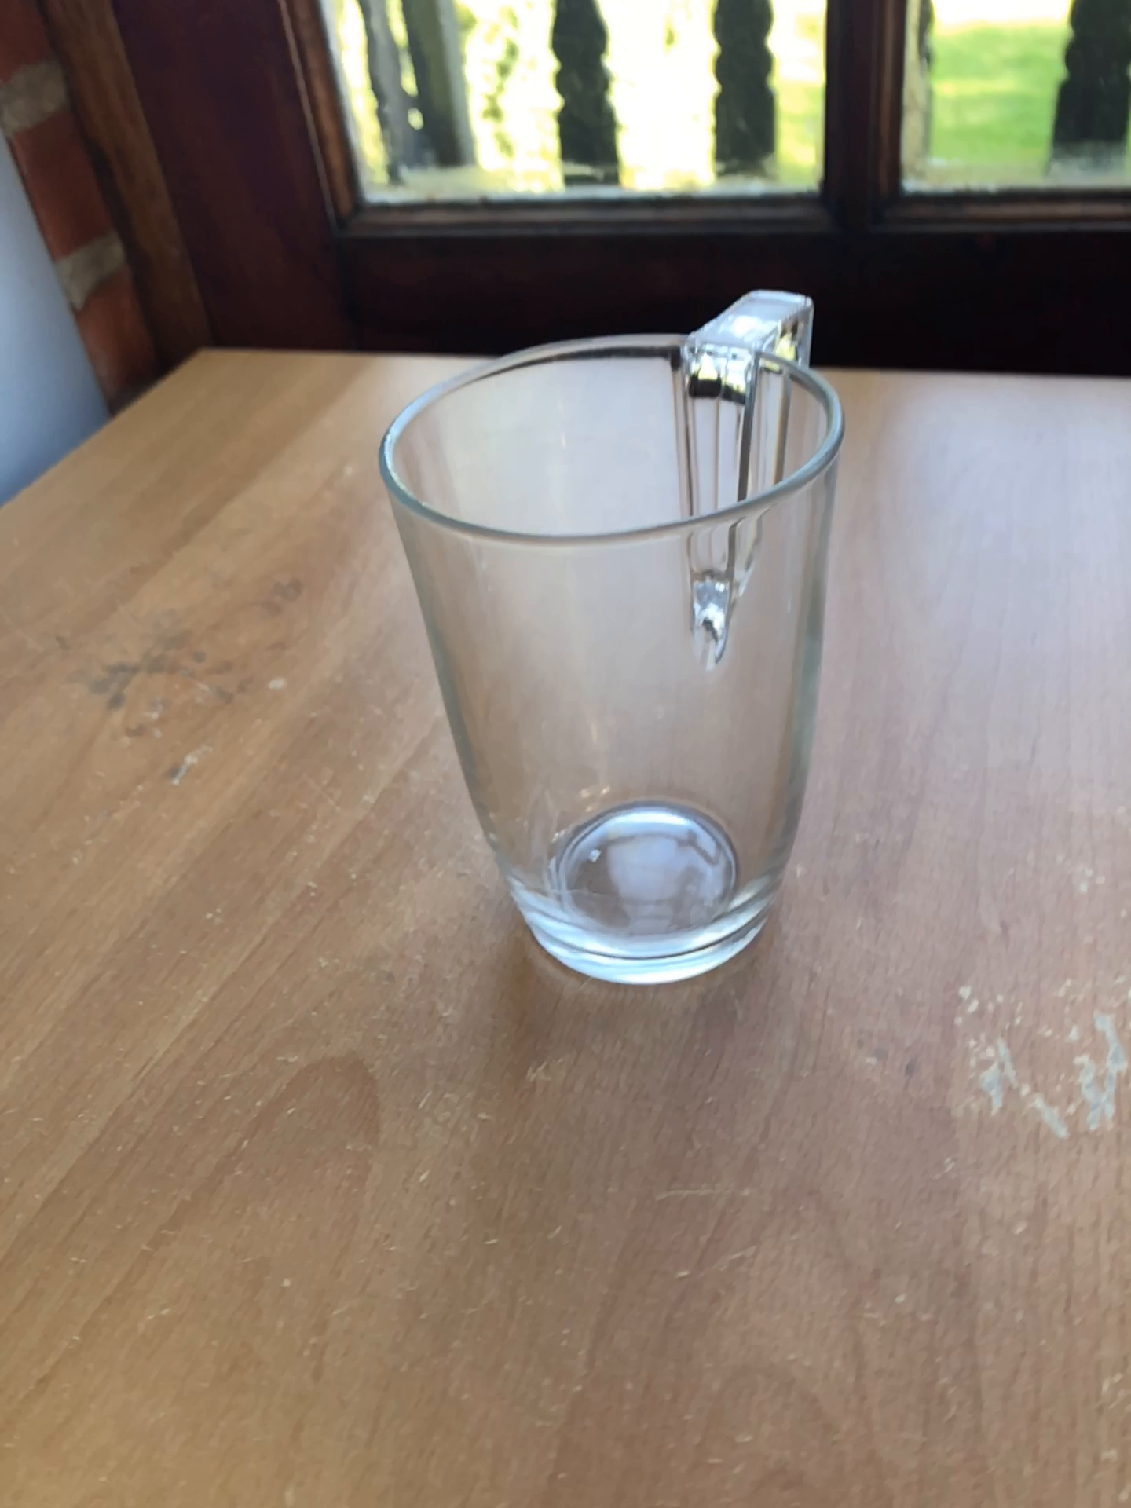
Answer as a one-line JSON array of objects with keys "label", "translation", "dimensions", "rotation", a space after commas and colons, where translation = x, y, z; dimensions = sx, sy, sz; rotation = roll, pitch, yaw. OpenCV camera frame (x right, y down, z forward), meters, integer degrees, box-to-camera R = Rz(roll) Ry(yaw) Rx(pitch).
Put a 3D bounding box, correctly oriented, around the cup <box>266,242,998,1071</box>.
[{"label": "cup", "translation": [0.020, -0.024, 0.241], "dimensions": [0.078, 0.103, 0.104], "rotation": [20, 48, 30]}]
